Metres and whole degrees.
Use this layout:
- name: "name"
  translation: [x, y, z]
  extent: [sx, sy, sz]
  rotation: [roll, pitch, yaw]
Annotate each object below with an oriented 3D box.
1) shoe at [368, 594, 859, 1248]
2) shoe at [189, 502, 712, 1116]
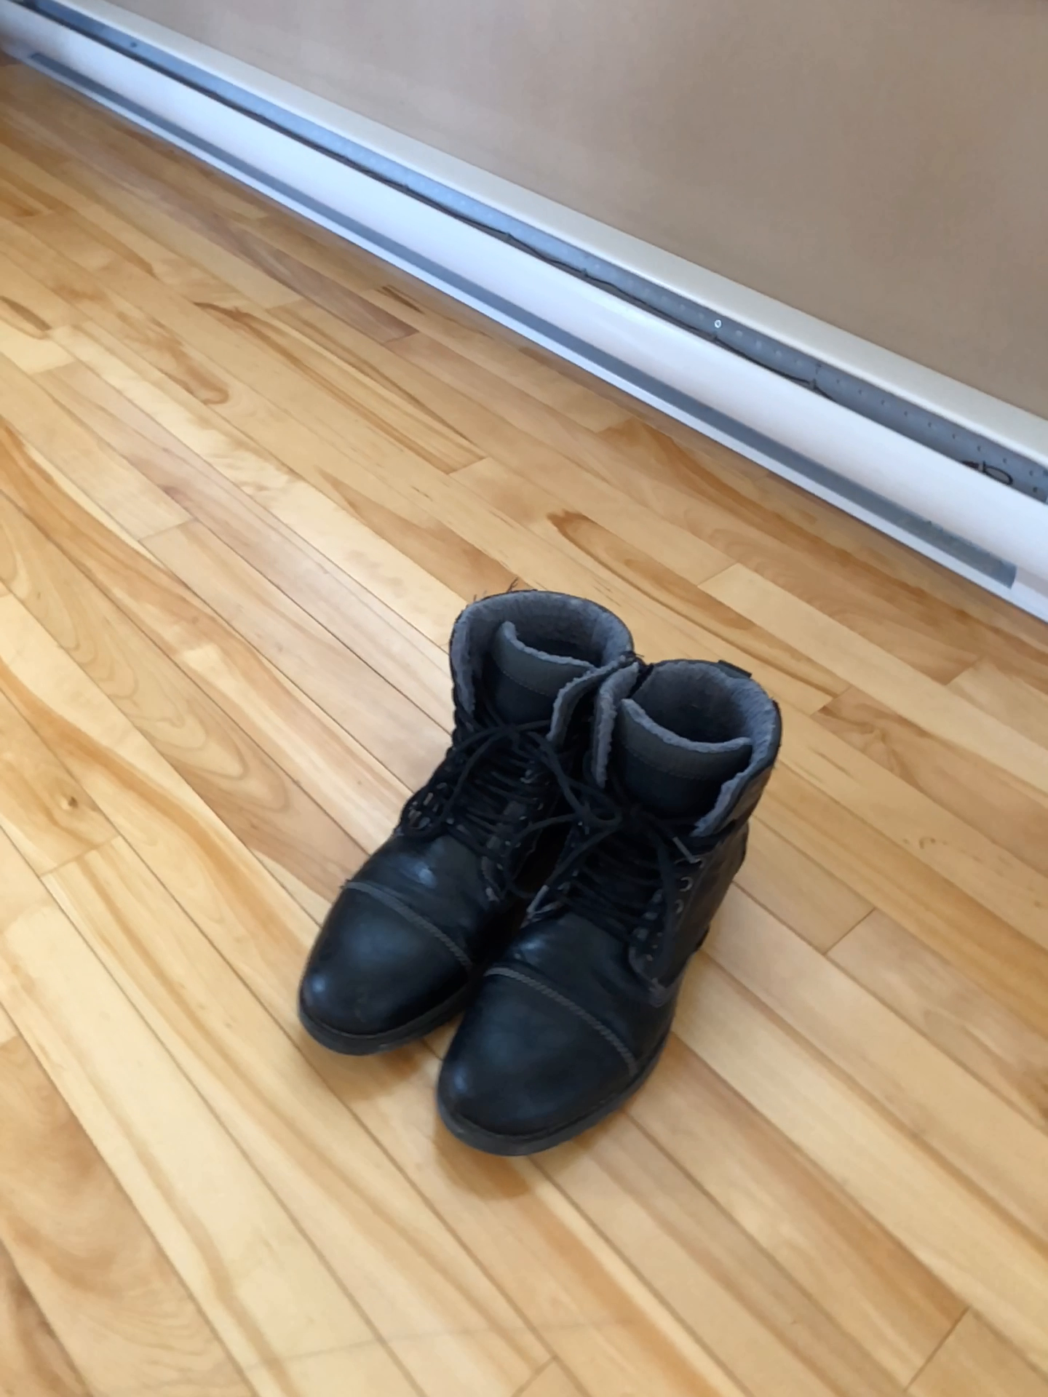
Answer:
- name: "shoe"
  translation: [0.057, 0.114, 0.665]
  extent: [0.120, 0.199, 0.301]
  rotation: [26, 47, 22]
- name: "shoe"
  translation: [-0.029, 0.052, 0.674]
  extent: [0.120, 0.199, 0.291]
  rotation: [28, 47, 24]
